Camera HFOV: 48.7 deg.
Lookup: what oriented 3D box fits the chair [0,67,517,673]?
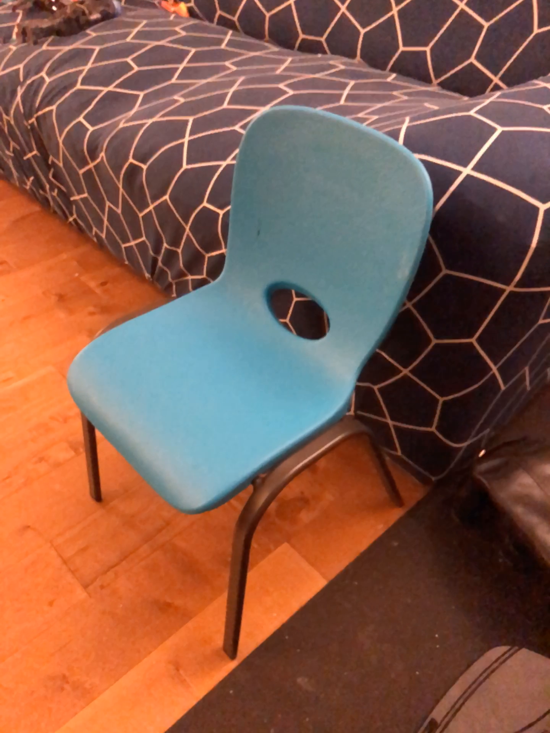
[{"bbox_3d":[-0.057,-0.015,0.790,0.432,0.526,0.401,34,51,30],"label":"chair"}]
